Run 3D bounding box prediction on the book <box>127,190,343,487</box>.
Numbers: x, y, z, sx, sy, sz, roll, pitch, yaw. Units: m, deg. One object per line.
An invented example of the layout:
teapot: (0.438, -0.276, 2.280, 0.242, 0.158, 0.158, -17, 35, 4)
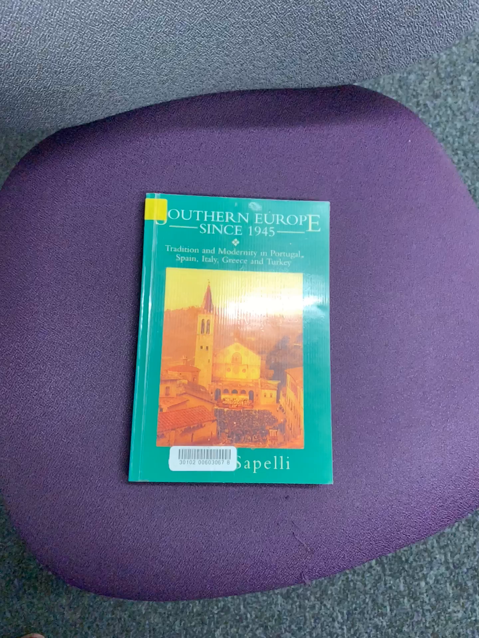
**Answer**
book: (-0.001, 0.012, 0.379, 0.153, 0.020, 0.221, 2, 80, -4)
